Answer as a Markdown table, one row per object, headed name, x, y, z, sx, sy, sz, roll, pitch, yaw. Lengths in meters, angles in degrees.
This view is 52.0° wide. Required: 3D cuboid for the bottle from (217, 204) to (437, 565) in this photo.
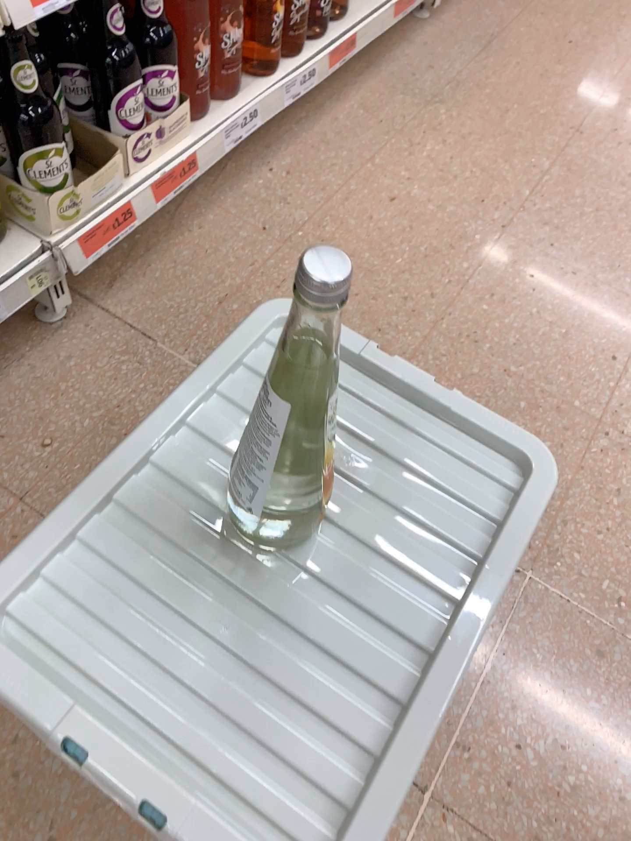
| name | x | y | z | sx | sy | sz | roll | pitch | yaw |
| --- | --- | --- | --- | --- | --- | --- | --- | --- | --- |
| bottle | -0.015 | 0.000 | 0.447 | 0.090 | 0.288 | 0.091 | 4 | 58 | -6 |
